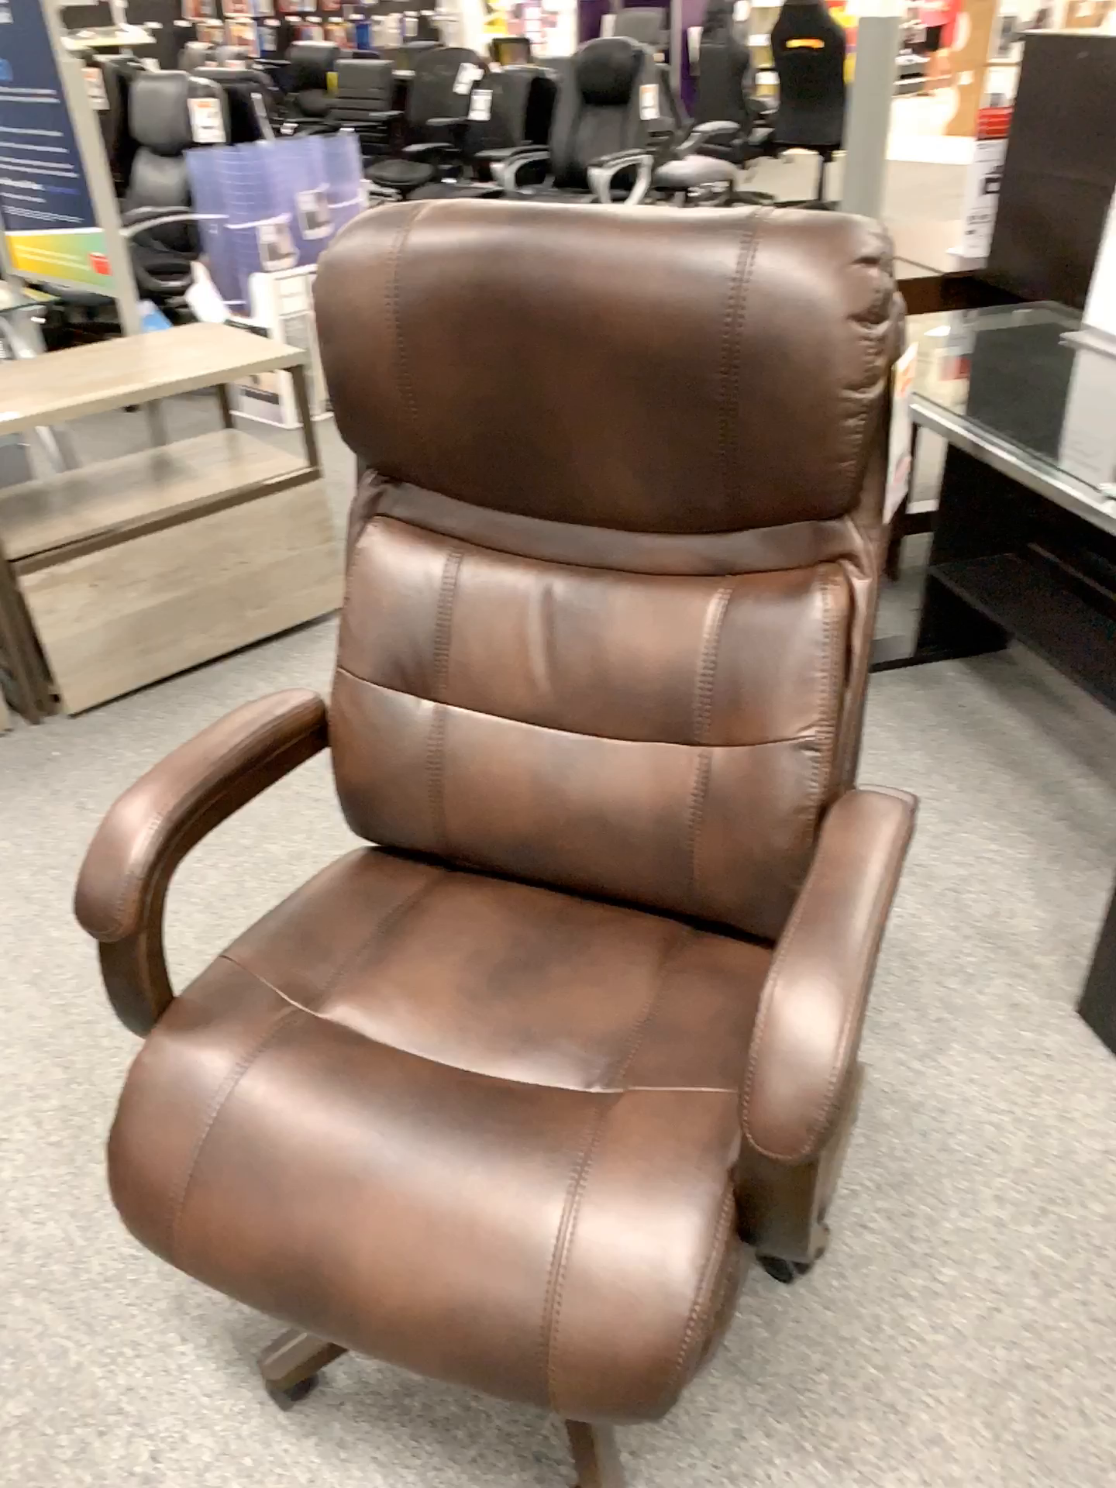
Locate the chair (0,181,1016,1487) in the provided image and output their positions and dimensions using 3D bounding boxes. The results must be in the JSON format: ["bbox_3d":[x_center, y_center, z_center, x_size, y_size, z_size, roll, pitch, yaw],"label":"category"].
[{"bbox_3d":[-0.064,0.127,1.082,0.711,1.094,0.703,11,36,19],"label":"chair"}]
